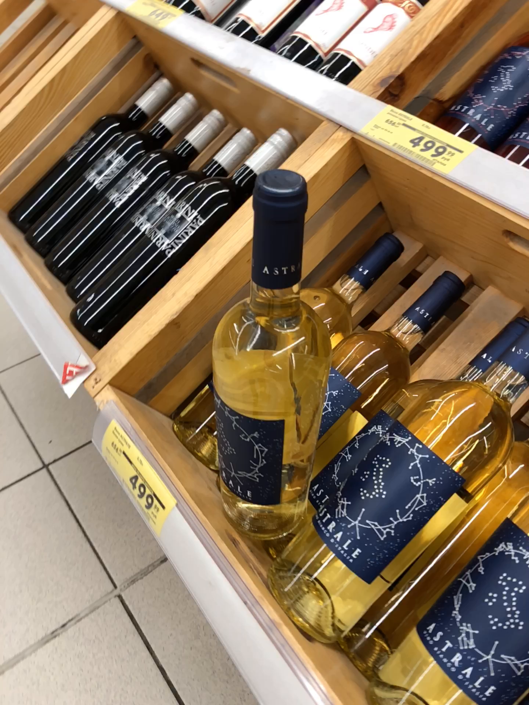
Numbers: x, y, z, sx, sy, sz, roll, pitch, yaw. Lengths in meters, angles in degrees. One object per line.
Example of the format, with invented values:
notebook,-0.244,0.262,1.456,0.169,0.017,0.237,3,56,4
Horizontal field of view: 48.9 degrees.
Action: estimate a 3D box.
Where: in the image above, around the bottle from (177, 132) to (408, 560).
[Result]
bottle,0.006,0.016,0.384,0.080,0.278,0.090,-19,48,-21
